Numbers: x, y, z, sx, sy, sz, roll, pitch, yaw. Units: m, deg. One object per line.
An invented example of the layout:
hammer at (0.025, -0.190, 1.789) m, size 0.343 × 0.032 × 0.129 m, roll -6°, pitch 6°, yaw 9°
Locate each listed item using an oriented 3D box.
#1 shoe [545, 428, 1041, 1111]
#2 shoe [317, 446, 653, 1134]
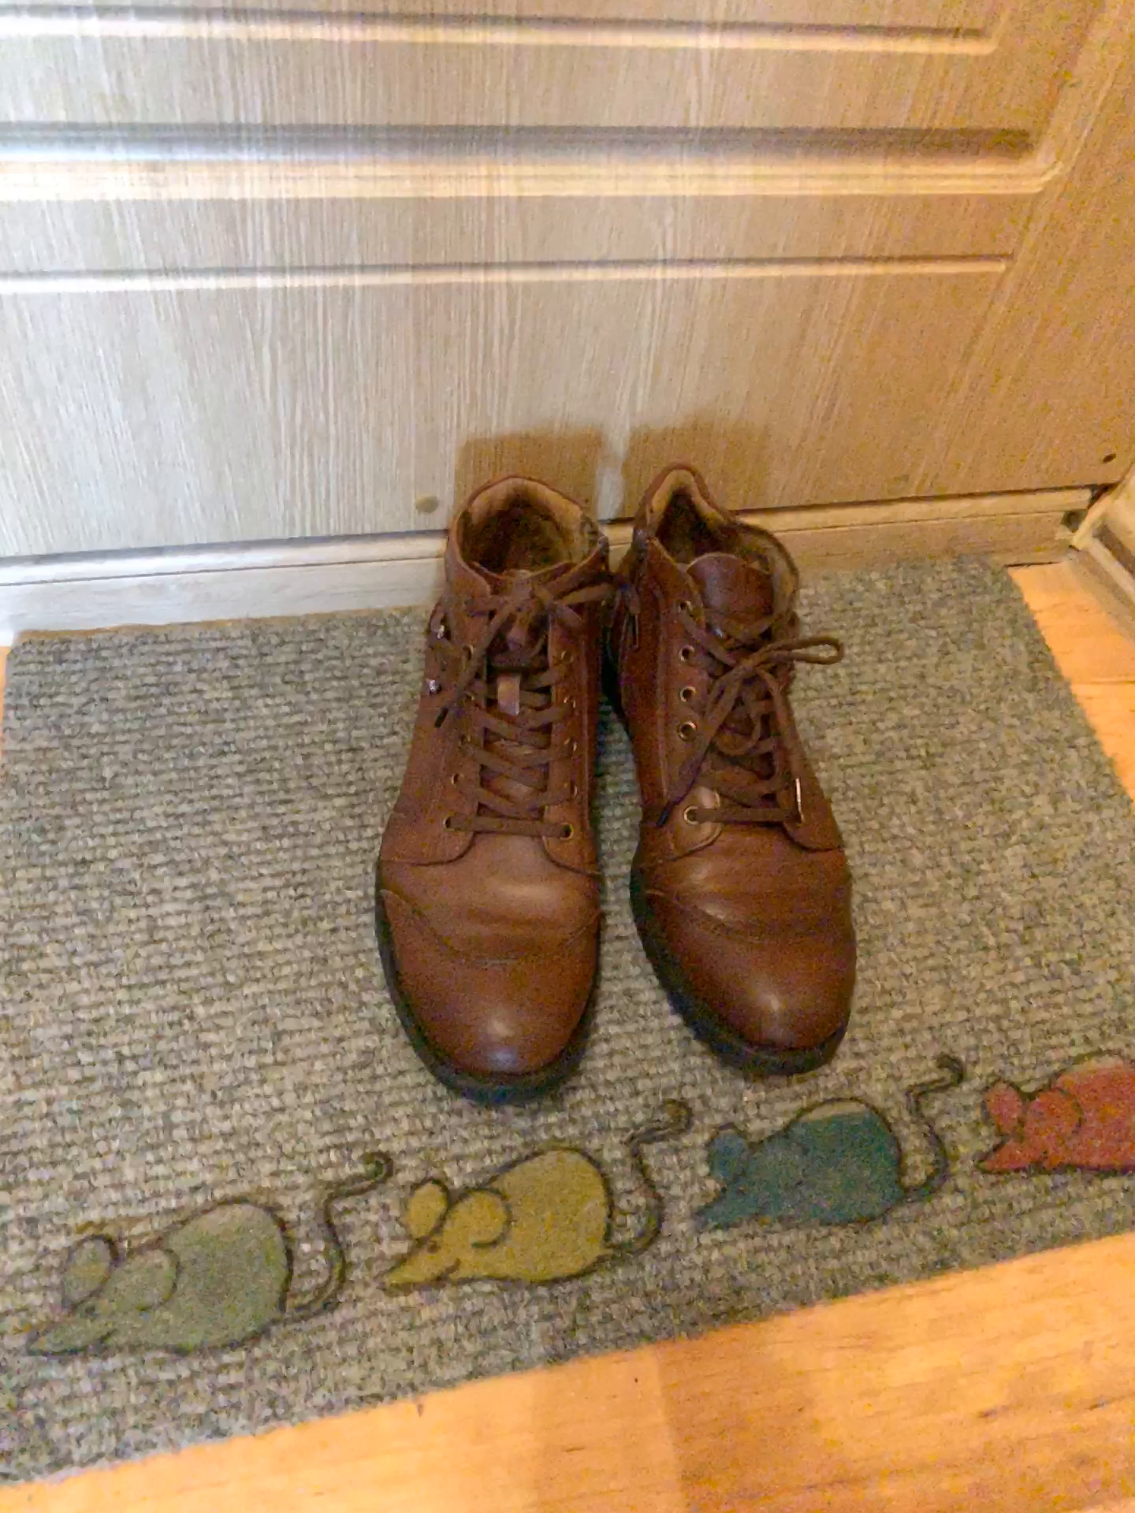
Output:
shoe at (0.078, -0.002, 0.531) m, size 0.110 × 0.140 × 0.271 m, roll -7°, pitch 57°, yaw -13°
shoe at (-0.031, 0.011, 0.510) m, size 0.110 × 0.140 × 0.261 m, roll 5°, pitch 55°, yaw -4°
